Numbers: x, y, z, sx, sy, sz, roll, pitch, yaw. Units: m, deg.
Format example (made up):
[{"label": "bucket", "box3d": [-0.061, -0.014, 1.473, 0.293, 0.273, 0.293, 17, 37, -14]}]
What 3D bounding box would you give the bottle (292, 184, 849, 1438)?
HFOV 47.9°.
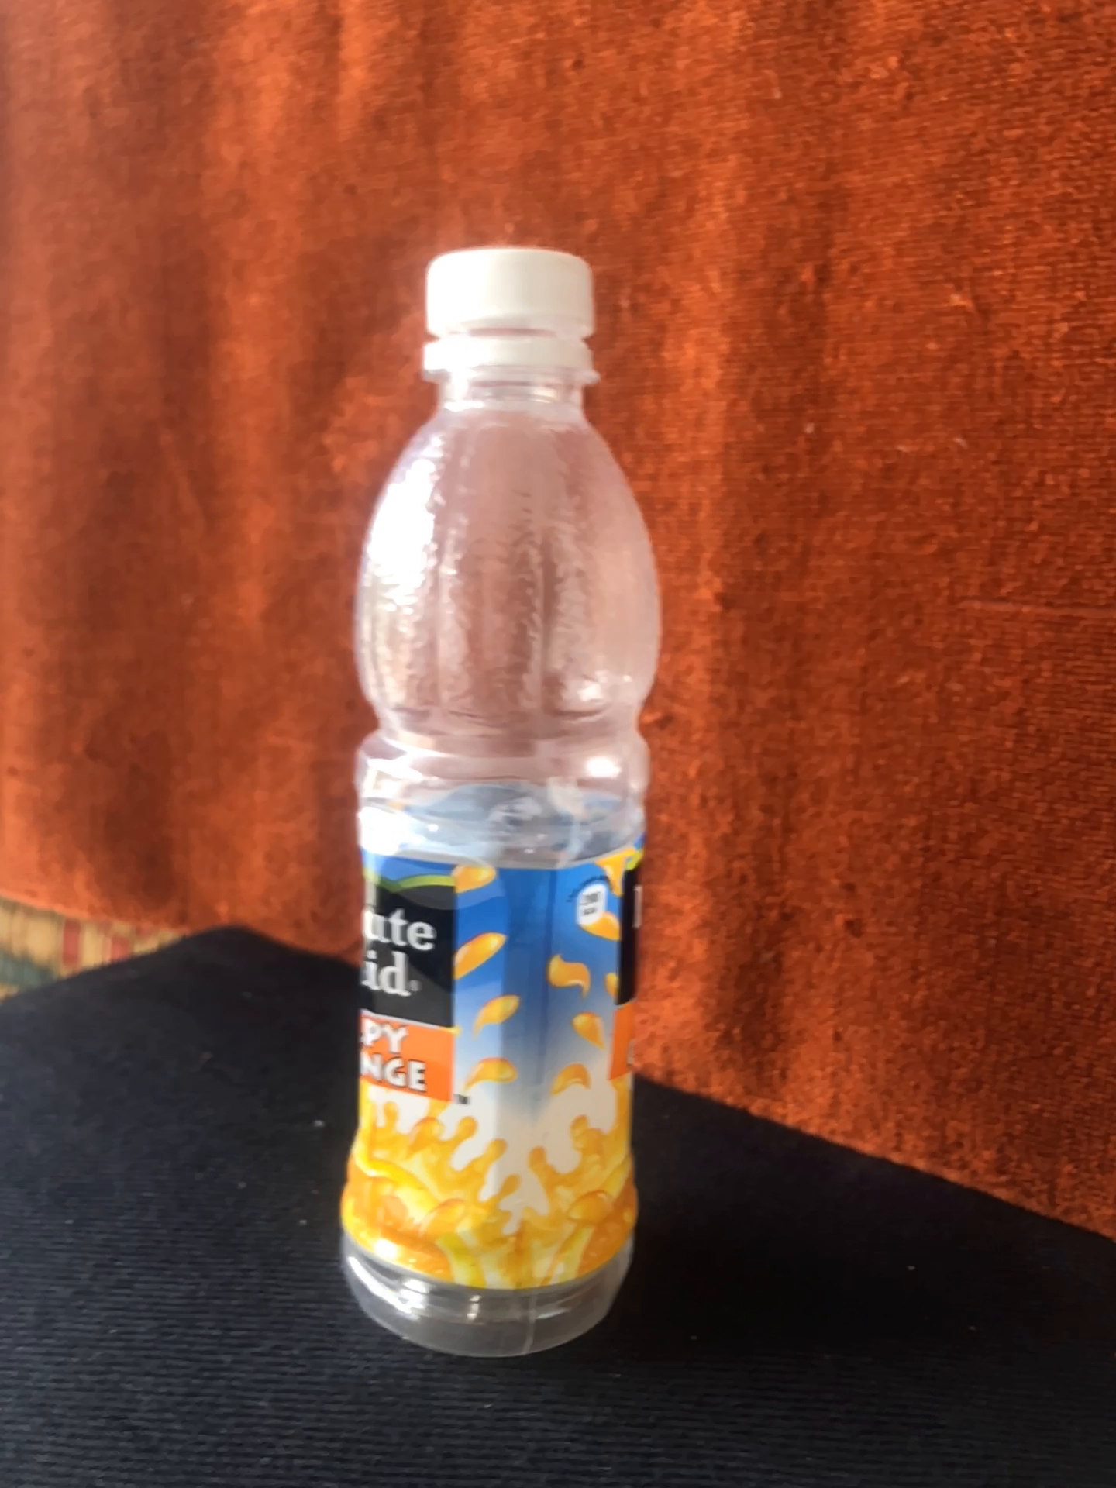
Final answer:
[{"label": "bottle", "box3d": [-0.003, 0.010, 0.242, 0.070, 0.199, 0.070, 2, 12, 0]}]
